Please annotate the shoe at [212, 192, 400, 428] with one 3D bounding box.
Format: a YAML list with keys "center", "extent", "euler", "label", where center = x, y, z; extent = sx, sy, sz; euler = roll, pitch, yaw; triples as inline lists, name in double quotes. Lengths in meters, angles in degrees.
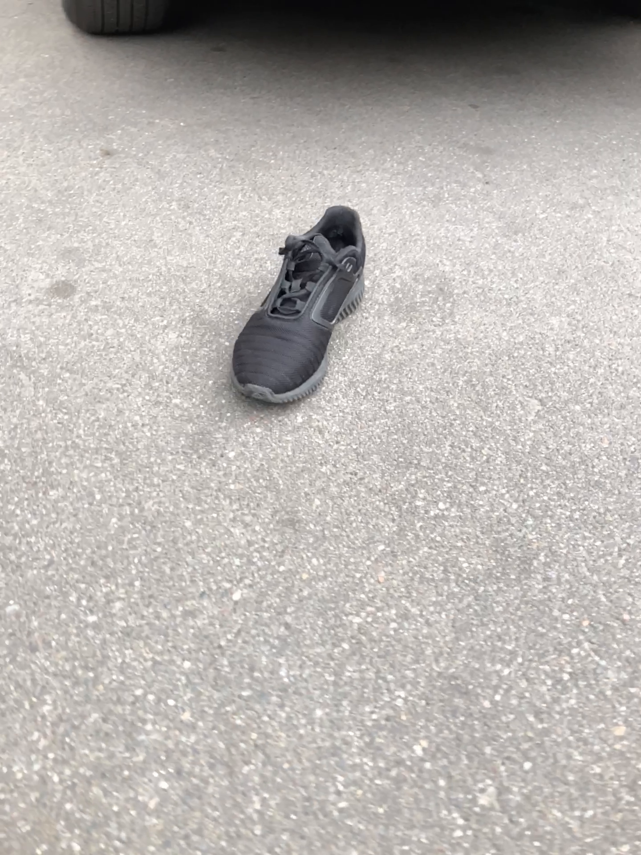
- center: [-0.006, -0.141, 0.765]
  extent: [0.100, 0.109, 0.282]
  euler: [17, 44, 13]
  label: "shoe"
